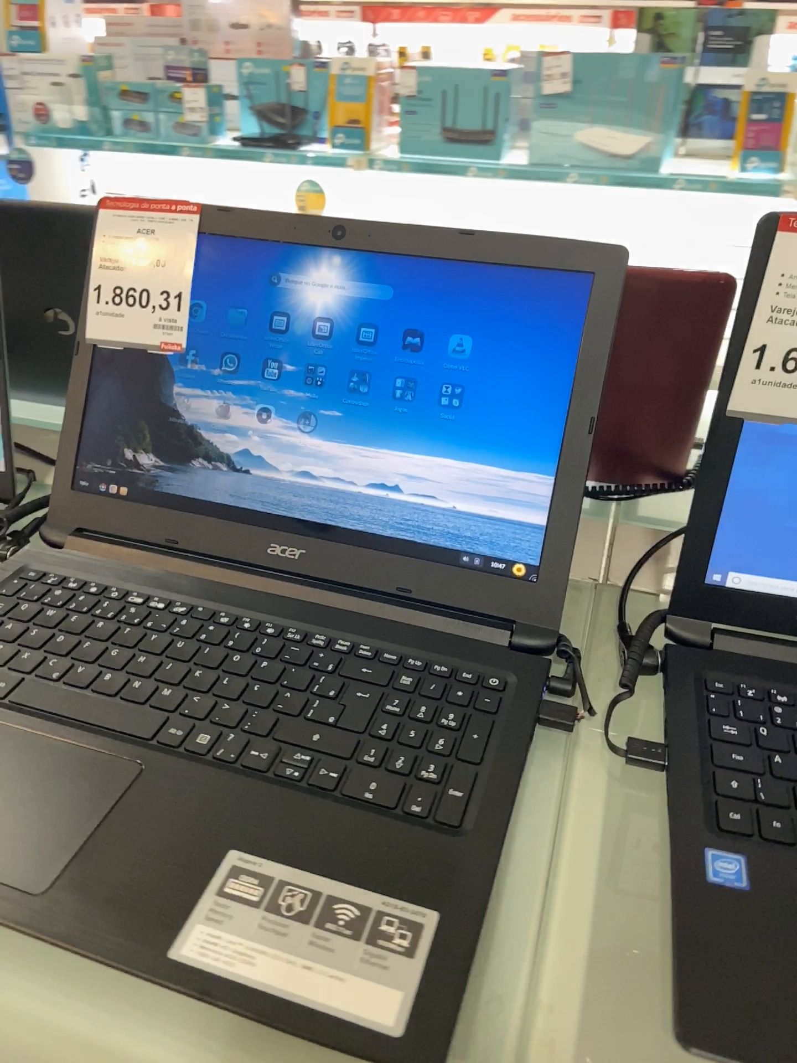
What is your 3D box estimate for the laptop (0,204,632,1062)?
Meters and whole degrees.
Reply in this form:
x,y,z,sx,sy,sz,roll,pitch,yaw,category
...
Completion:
x,y,z,sx,sy,sz,roll,pitch,yaw,category
-0.101,-0.020,0.447,0.379,0.215,0.381,10,33,16,laptop
